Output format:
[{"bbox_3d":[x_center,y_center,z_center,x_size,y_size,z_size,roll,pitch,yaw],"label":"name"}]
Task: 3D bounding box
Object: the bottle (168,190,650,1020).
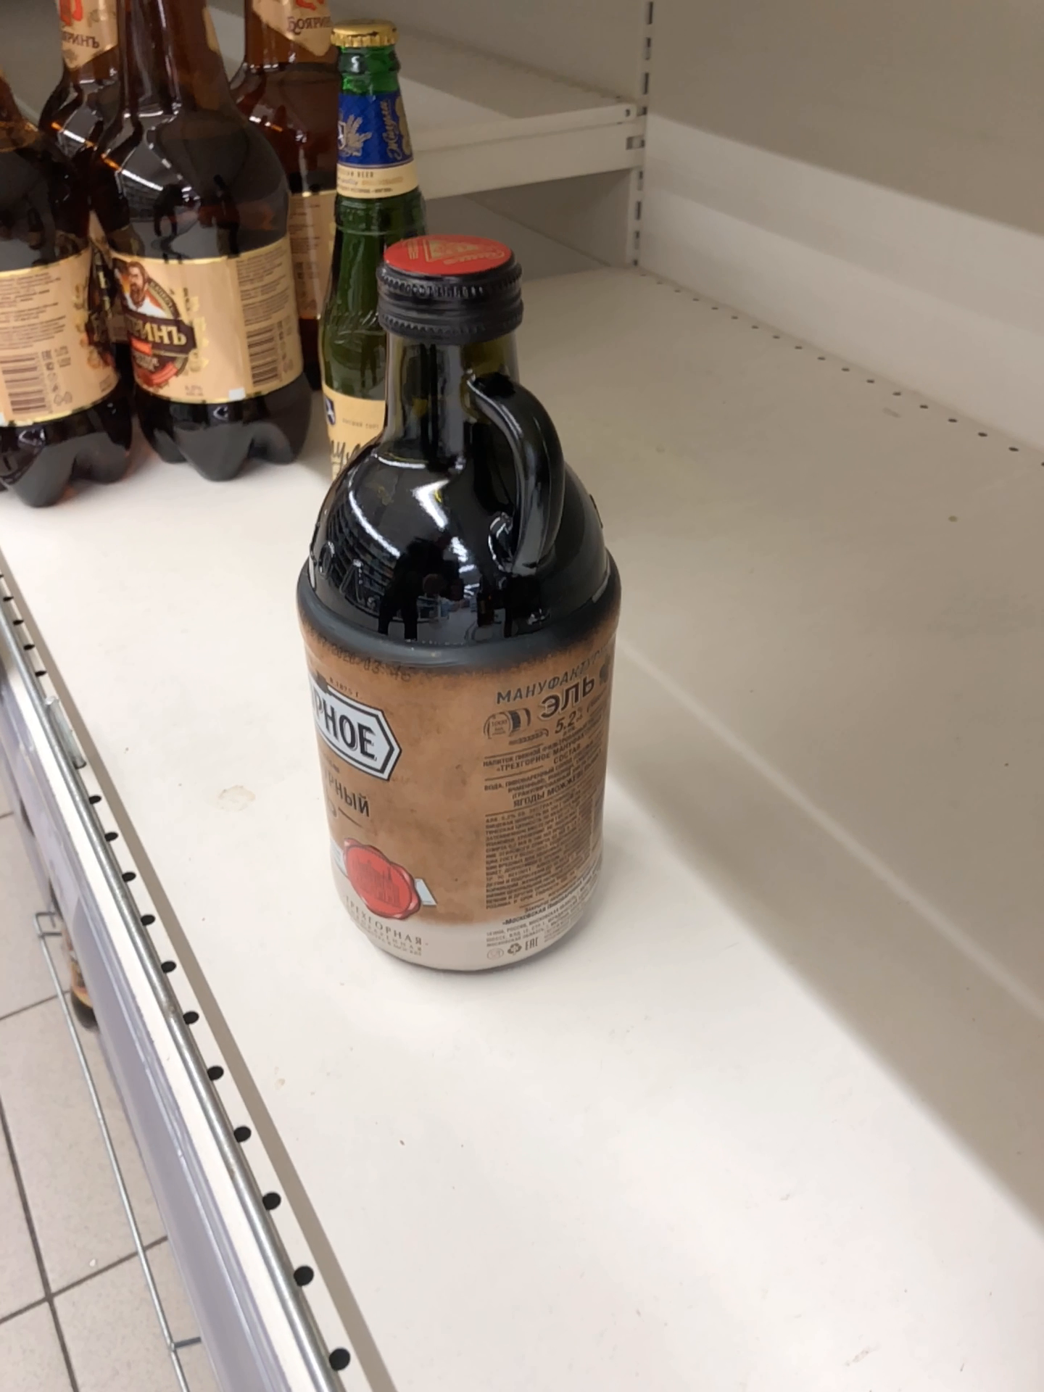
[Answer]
[{"bbox_3d":[-0.036,-0.025,0.368,0.100,0.225,0.111,-12,39,-16],"label":"bottle"}]
